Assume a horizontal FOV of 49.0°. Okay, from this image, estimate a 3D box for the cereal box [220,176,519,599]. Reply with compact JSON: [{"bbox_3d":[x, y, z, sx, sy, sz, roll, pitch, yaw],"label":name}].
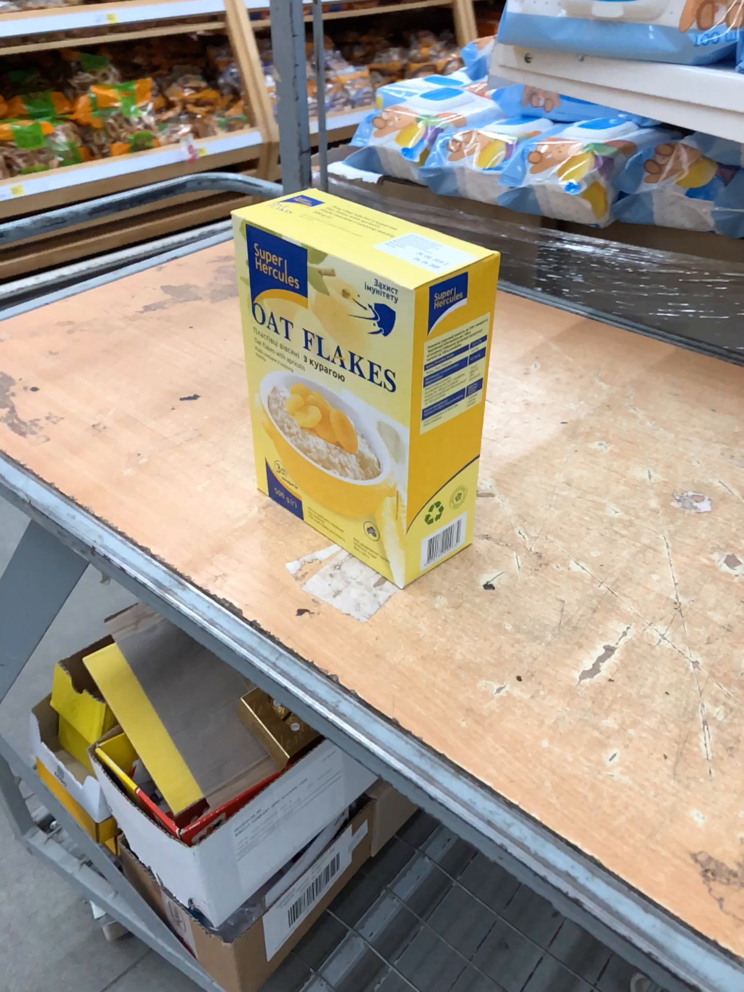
[{"bbox_3d":[-0.004,-0.068,0.495,0.080,0.199,0.151,-29,44,-32],"label":"cereal box"}]
